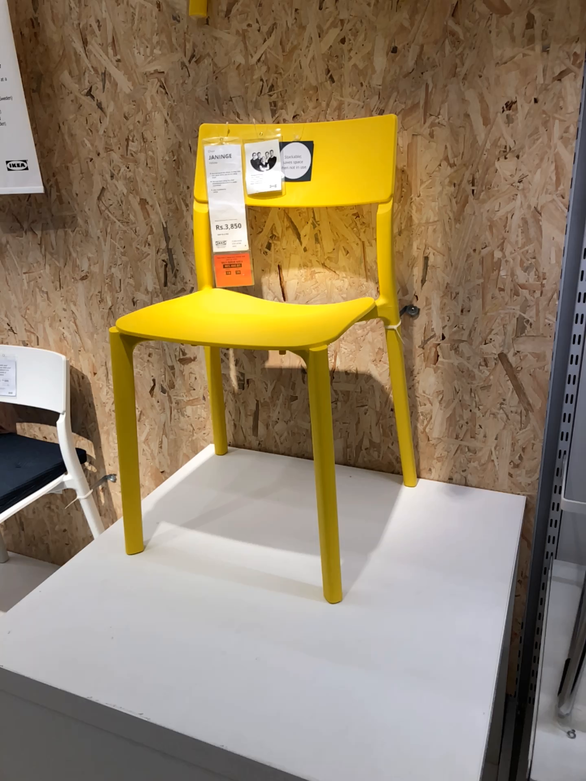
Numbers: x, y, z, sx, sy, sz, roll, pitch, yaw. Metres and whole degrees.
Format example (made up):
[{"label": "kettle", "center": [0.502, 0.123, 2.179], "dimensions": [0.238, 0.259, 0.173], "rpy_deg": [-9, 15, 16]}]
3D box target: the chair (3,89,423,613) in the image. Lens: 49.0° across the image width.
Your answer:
[{"label": "chair", "center": [-0.068, -0.105, 1.079], "dimensions": [0.460, 0.676, 0.462], "rpy_deg": [6, 22, 21]}]
